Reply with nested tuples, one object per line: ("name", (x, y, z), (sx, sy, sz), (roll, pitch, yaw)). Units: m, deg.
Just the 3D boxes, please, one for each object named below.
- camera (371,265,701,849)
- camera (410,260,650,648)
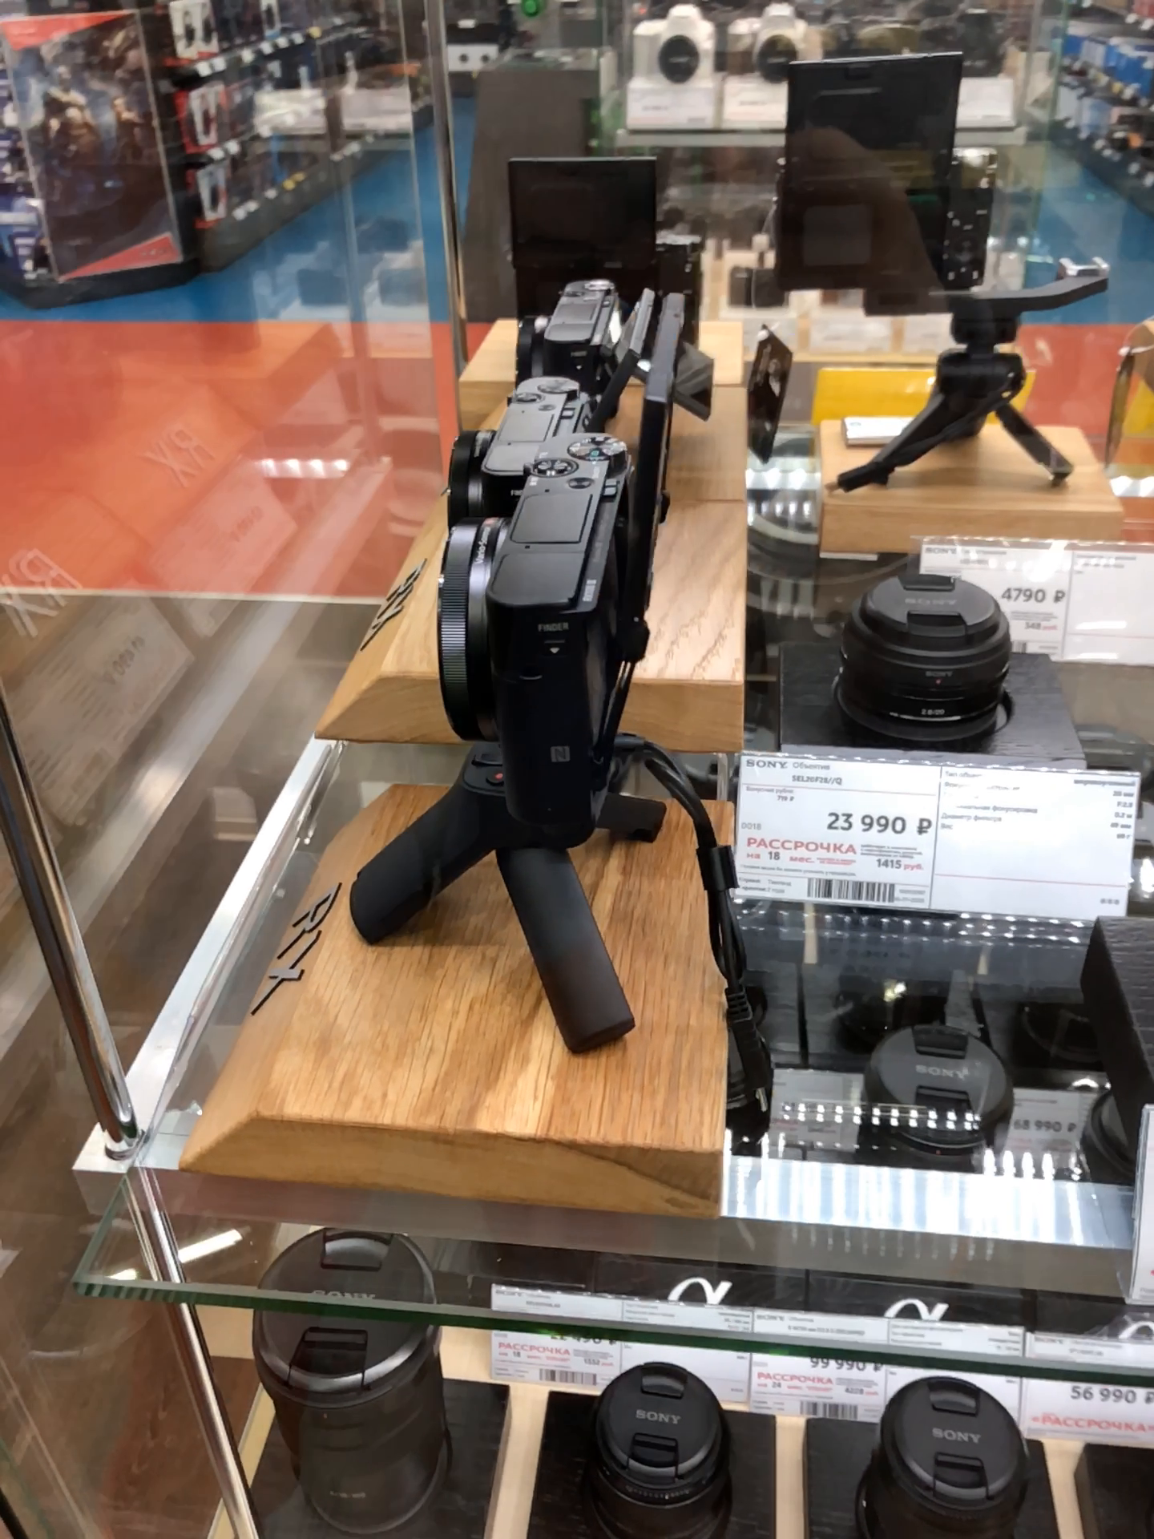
("camera", (-0.003, -0.055, 0.304), (0.057, 0.102, 0.103), (3, 34, 6))
("camera", (-0.011, -0.114, 0.449), (0.065, 0.102, 0.103), (3, 34, 6))
